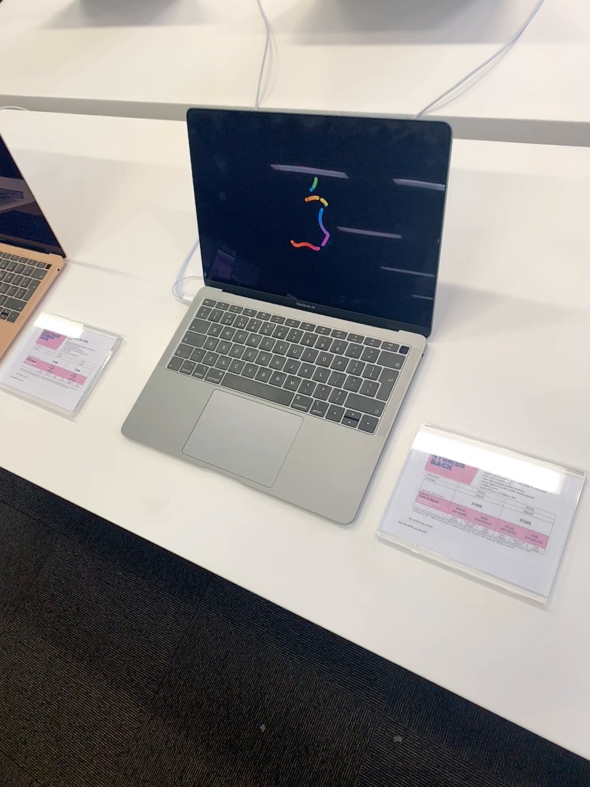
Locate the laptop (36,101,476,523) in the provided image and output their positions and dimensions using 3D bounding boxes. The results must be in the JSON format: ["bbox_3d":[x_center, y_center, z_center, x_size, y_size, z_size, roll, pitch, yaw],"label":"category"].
[{"bbox_3d":[-0.021,-0.098,0.600,0.290,0.160,0.329,17,70,27],"label":"laptop"}]
